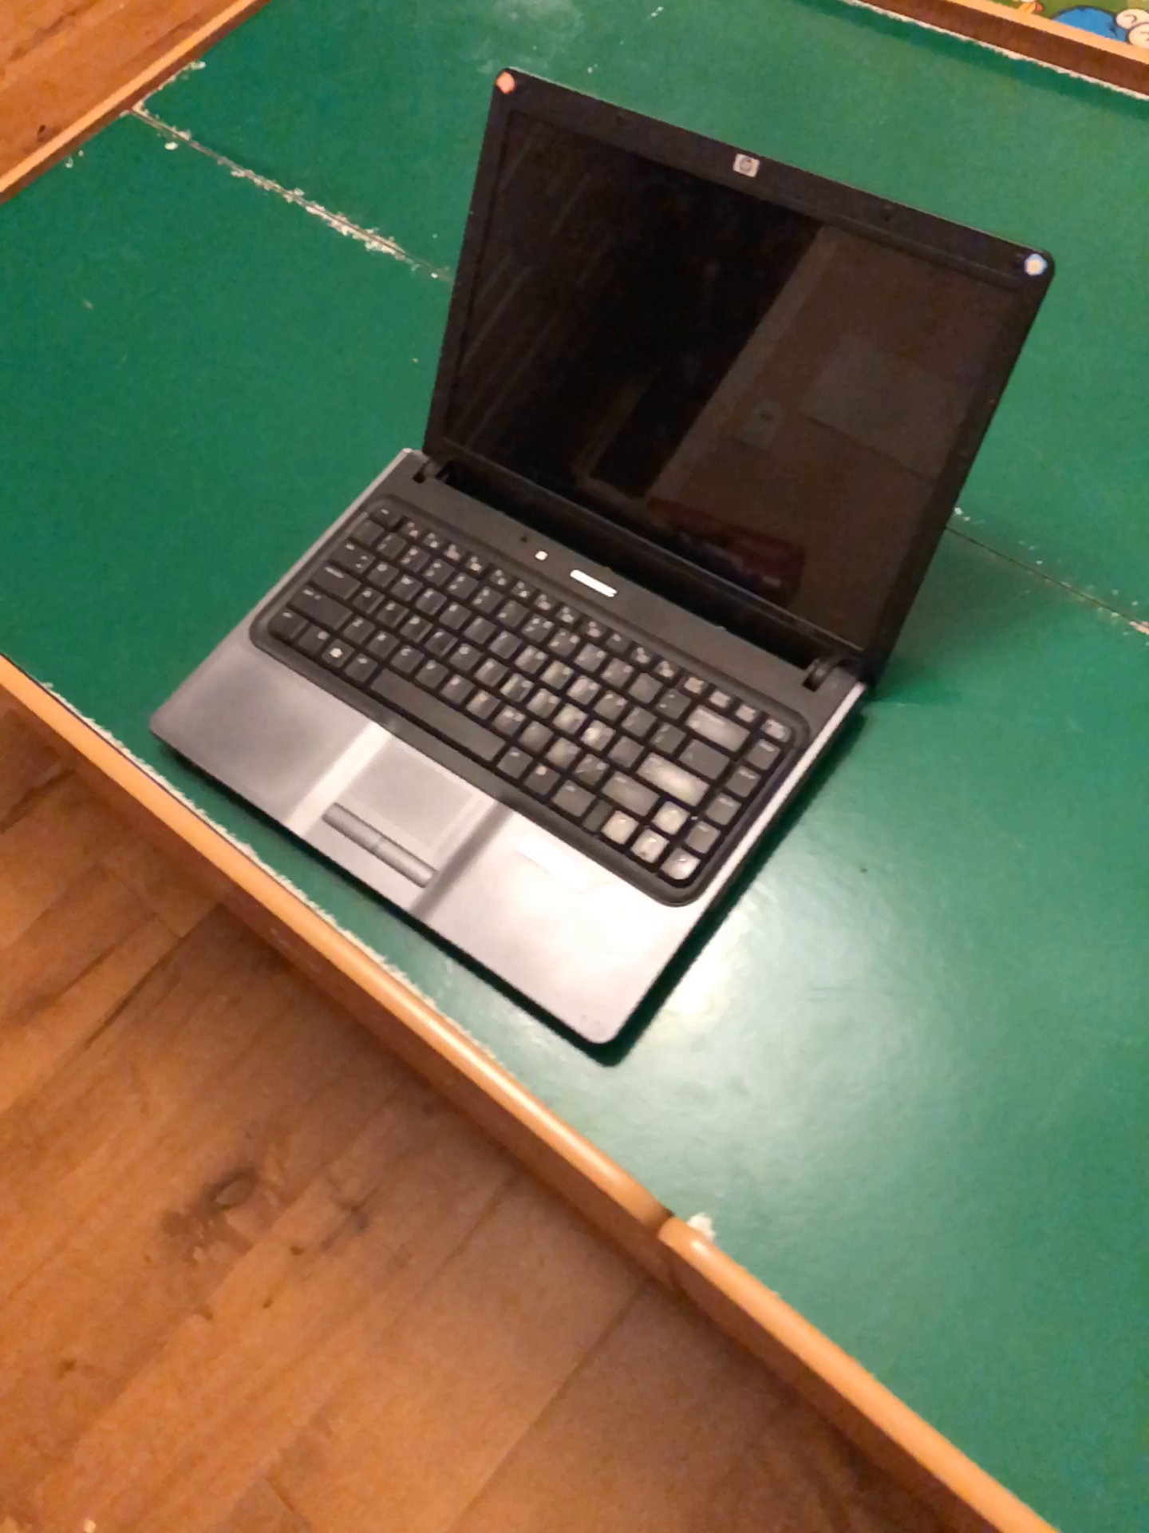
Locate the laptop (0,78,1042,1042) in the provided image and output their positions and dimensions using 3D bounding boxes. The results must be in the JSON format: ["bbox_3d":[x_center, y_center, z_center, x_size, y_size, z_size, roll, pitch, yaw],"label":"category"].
[{"bbox_3d":[-0.016,-0.124,0.648,0.324,0.172,0.374,31,70,23],"label":"laptop"}]
